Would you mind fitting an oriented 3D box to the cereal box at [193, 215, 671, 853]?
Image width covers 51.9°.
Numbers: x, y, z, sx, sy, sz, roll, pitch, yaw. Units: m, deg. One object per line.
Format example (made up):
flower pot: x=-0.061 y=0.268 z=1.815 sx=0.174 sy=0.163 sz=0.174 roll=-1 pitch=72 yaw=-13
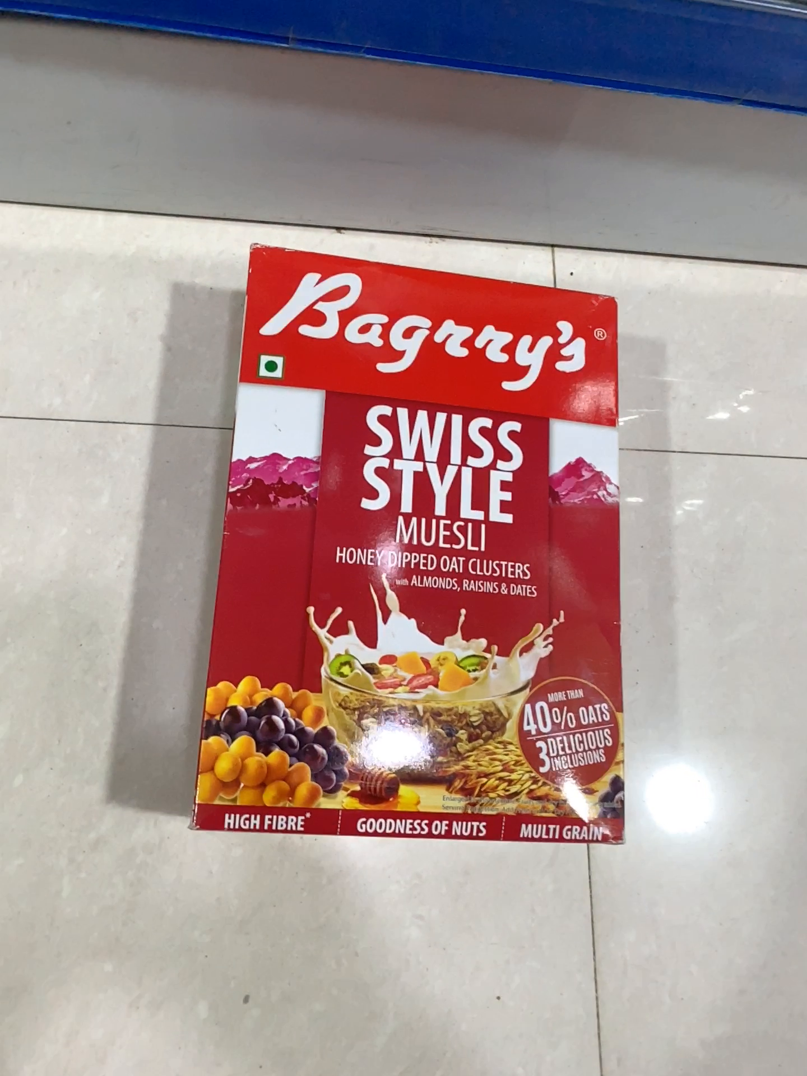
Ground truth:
cereal box: x=0.016 y=0.001 z=0.390 sx=0.190 sy=0.080 sz=0.260 roll=5 pitch=77 yaw=-9
